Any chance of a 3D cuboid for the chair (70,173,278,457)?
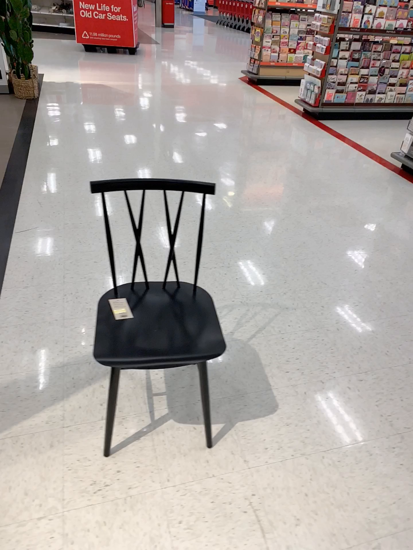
[{"bbox_3d":[-0.135,0.115,1.385,0.480,0.736,0.523,-3,35,-11],"label":"chair"}]
